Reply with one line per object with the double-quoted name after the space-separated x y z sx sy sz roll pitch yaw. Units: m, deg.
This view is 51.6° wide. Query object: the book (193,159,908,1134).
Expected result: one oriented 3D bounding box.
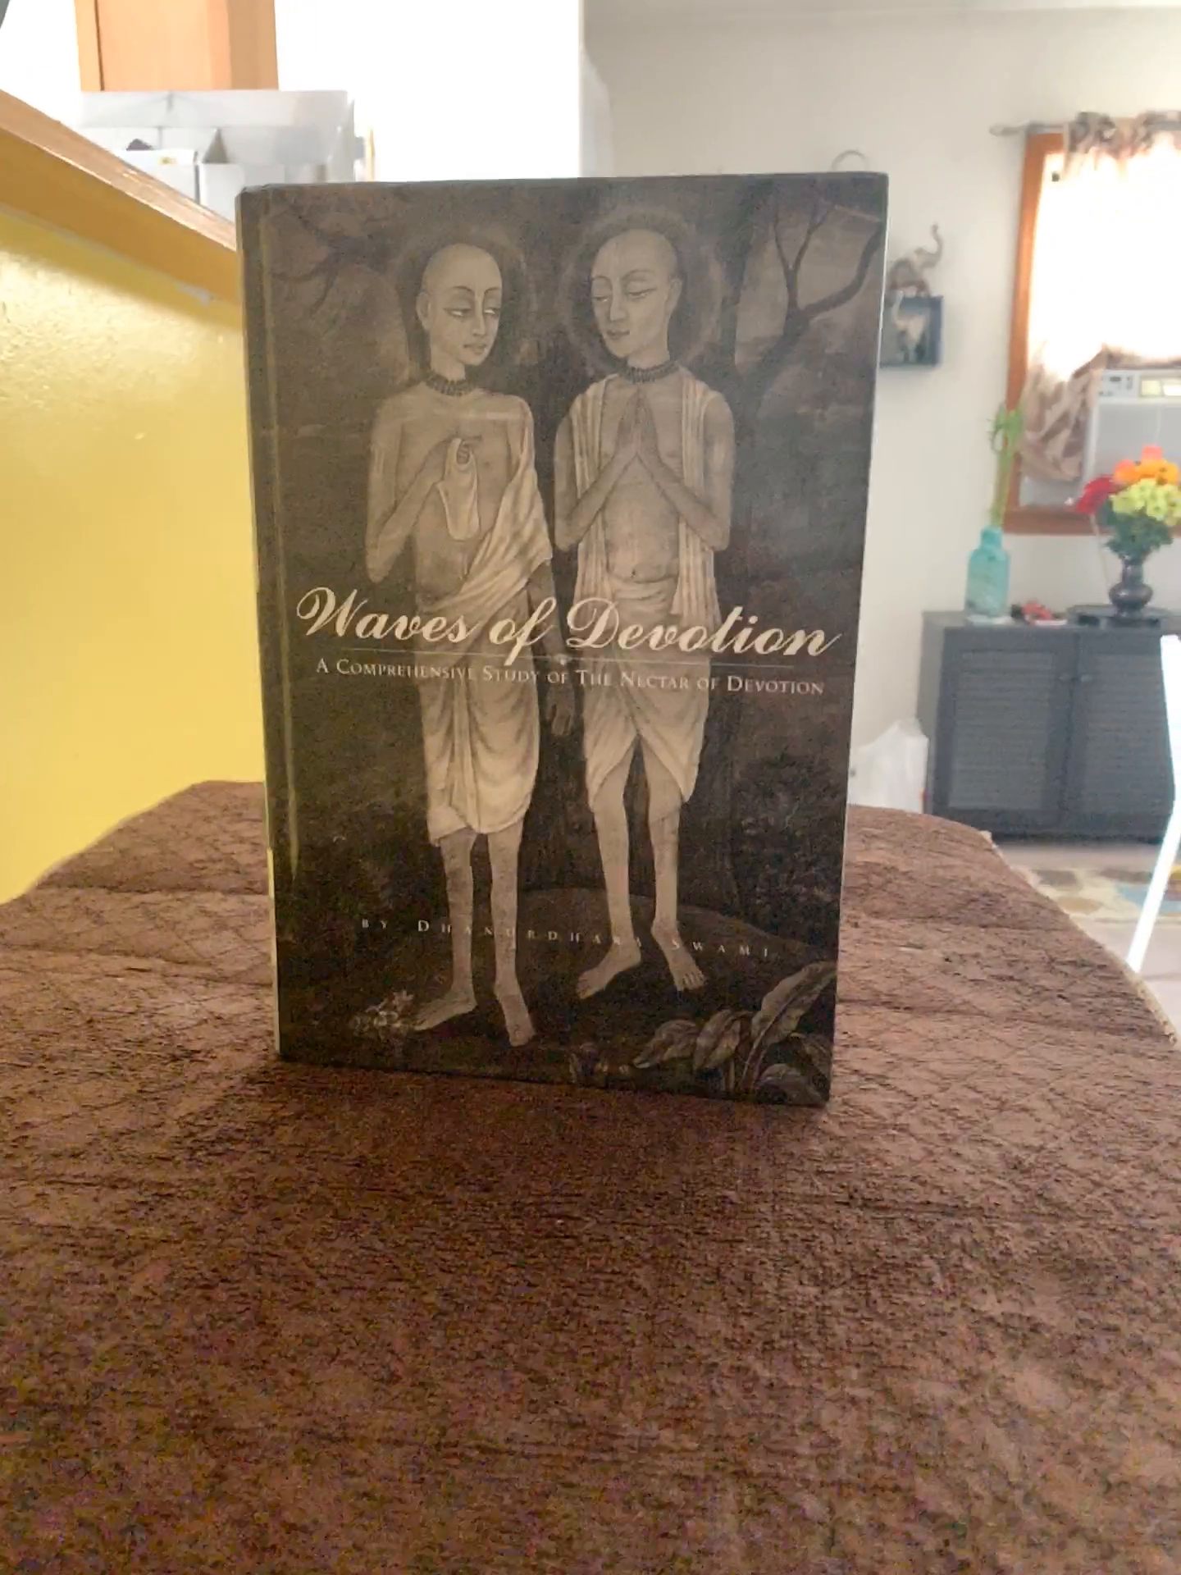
-0.010 -0.030 0.317 0.160 0.229 0.040 3 16 9 "book"
